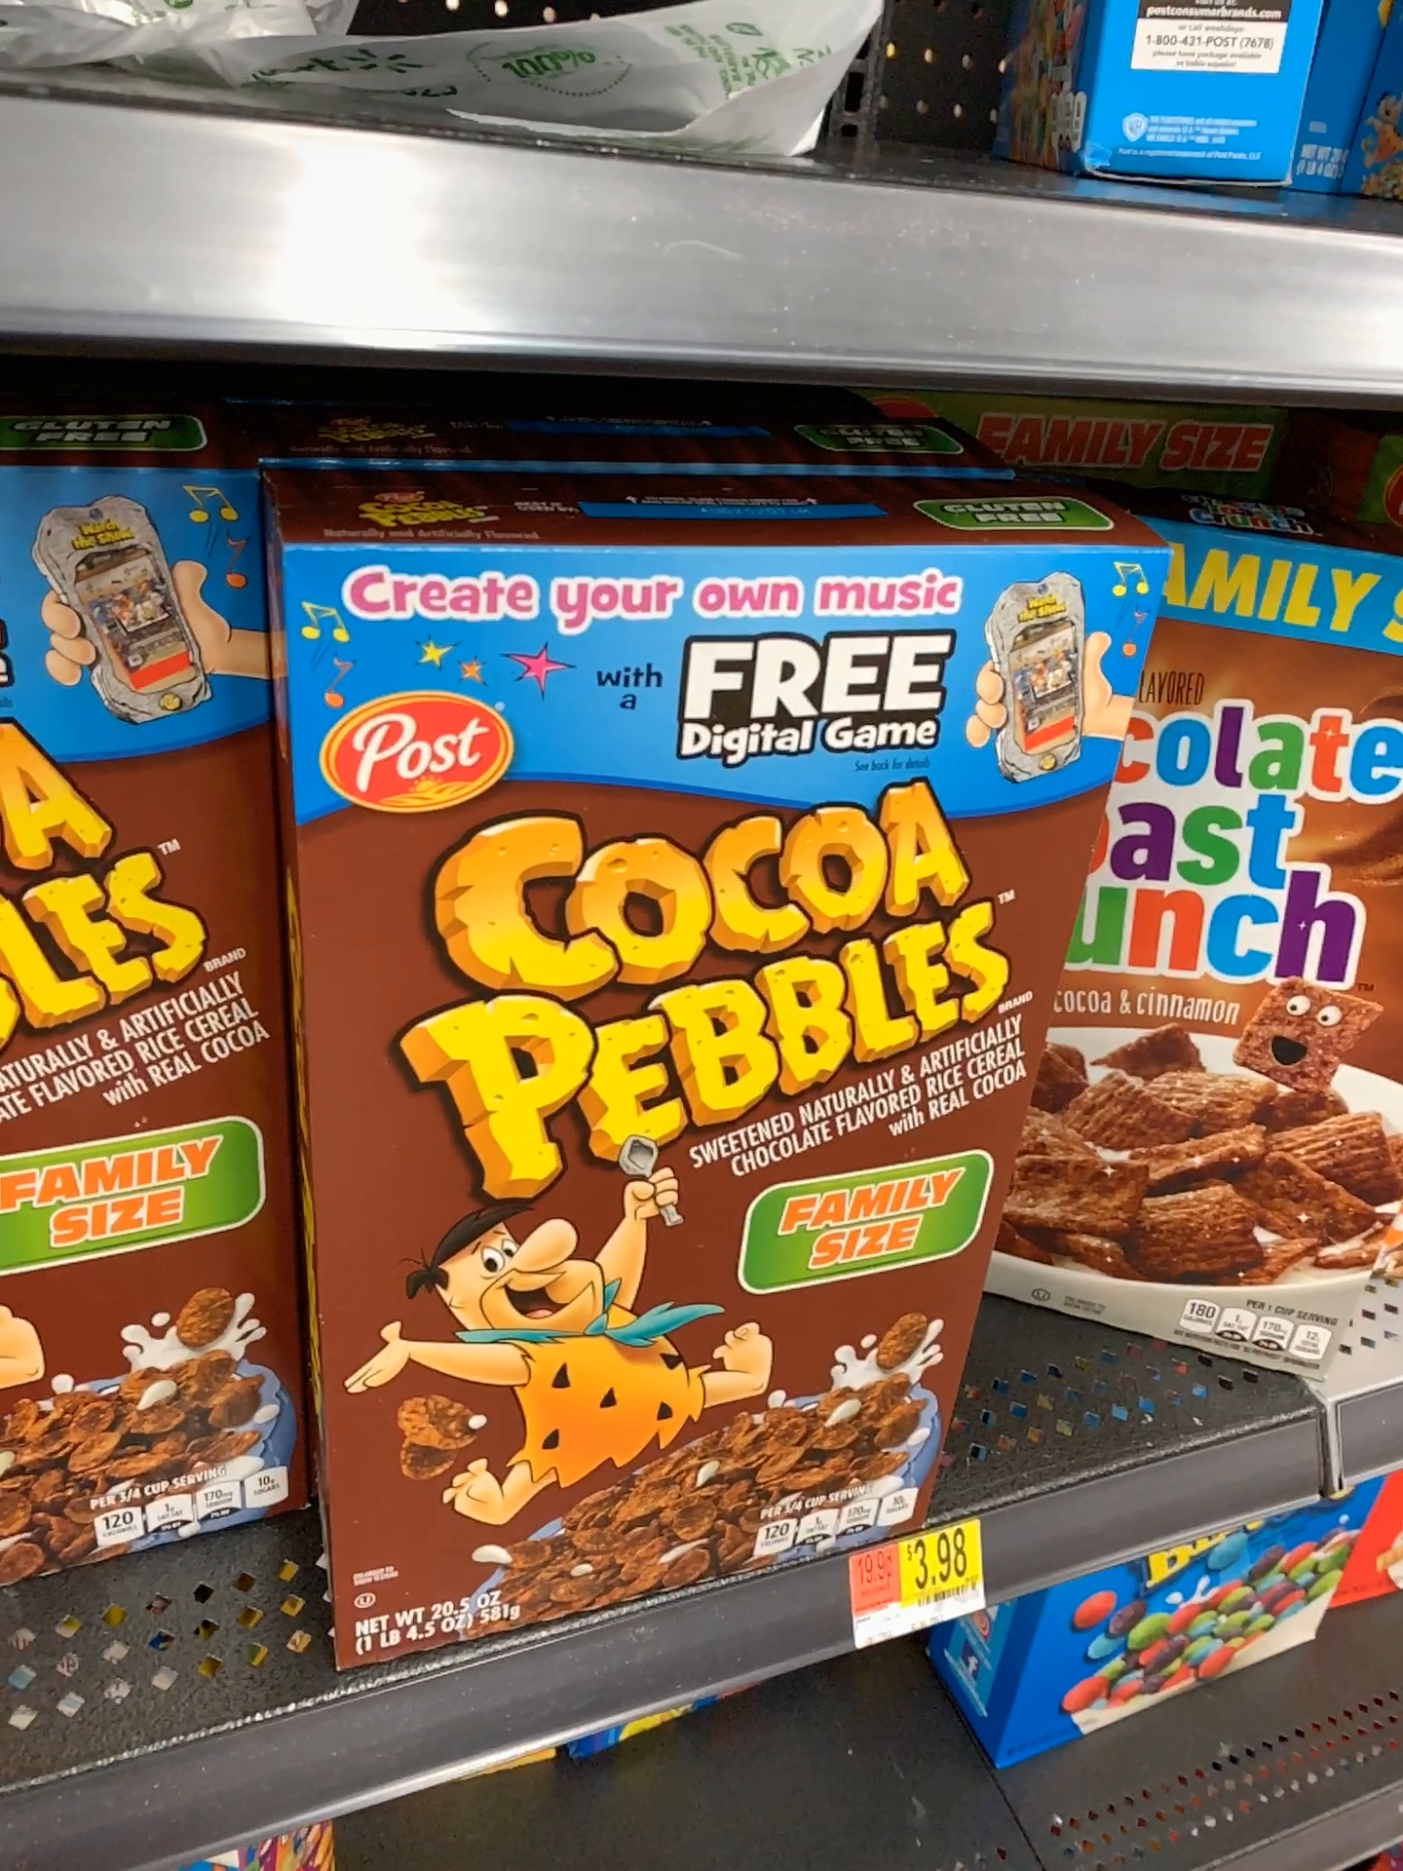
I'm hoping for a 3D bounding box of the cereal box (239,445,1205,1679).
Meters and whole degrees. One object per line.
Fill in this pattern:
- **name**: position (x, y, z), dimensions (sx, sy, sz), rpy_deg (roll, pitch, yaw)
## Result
- **cereal box**: position (-0.009, 0.047, 0.390), dimensions (0.200, 0.328, 0.060), rpy_deg (-5, 31, -20)
